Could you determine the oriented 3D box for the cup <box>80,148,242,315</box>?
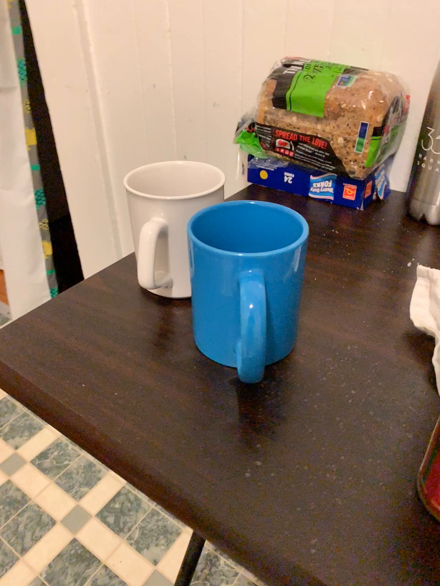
[{"bbox_3d":[-0.042,-0.060,0.395,0.090,0.089,0.121,10,36,15],"label":"cup"}]

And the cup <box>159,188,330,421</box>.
[{"bbox_3d":[0.017,0.000,0.324,0.090,0.099,0.141,2,35,3],"label":"cup"}]
